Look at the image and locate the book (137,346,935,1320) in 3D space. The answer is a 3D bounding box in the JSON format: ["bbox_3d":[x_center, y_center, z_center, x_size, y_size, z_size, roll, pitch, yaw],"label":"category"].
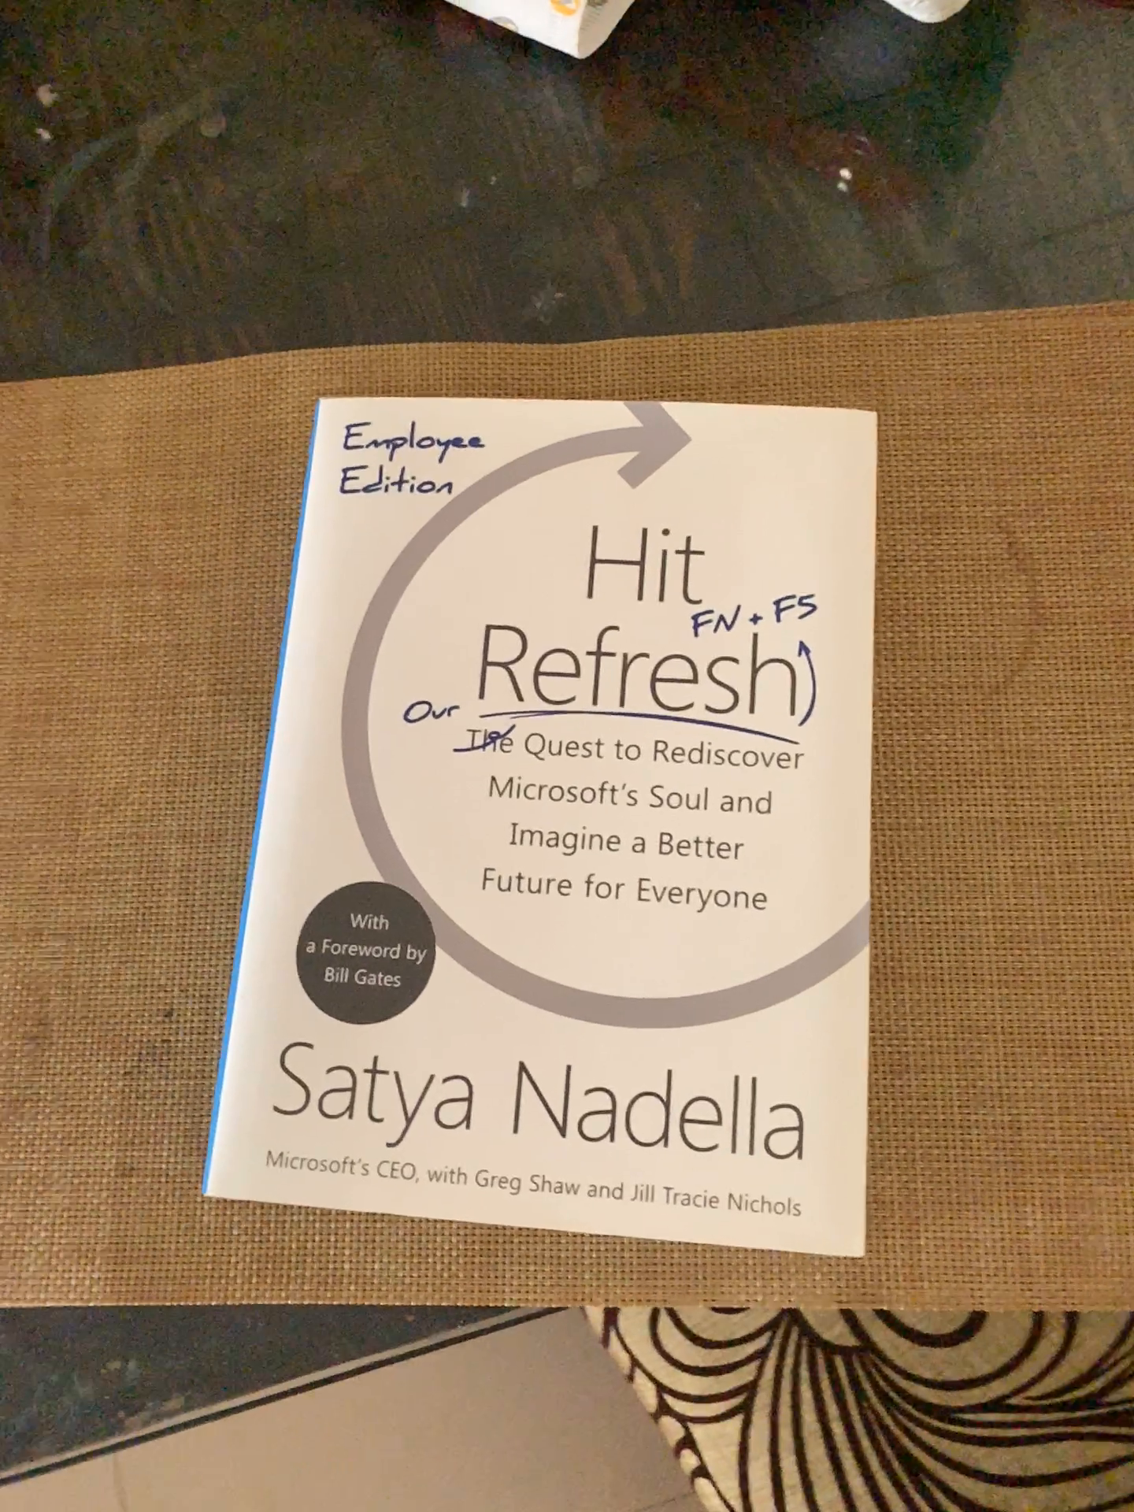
[{"bbox_3d":[0.000,0.008,0.332,0.190,0.040,0.250,4,76,6],"label":"book"}]
